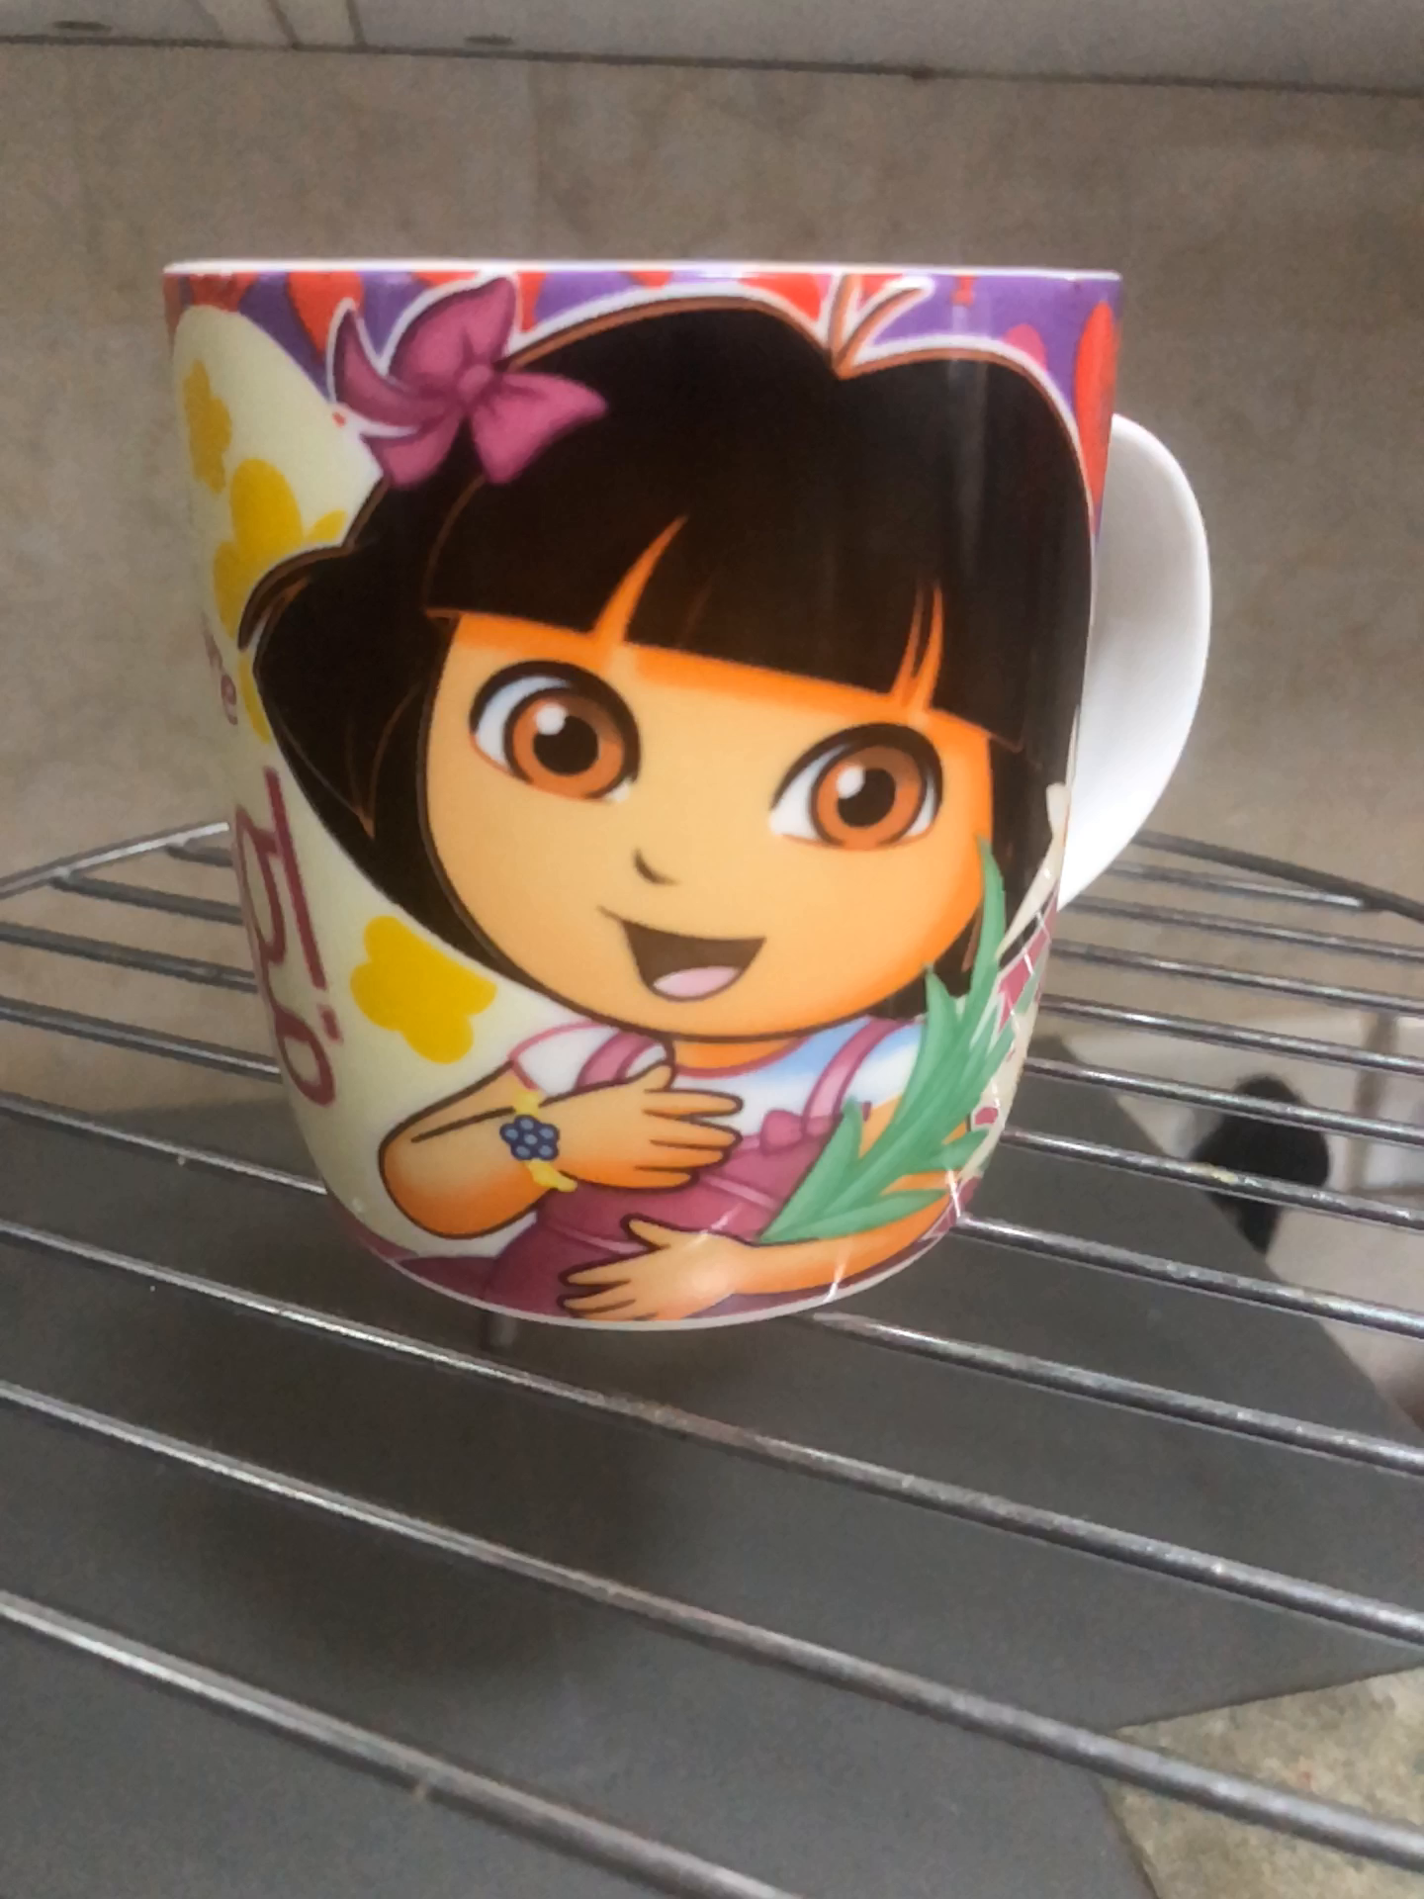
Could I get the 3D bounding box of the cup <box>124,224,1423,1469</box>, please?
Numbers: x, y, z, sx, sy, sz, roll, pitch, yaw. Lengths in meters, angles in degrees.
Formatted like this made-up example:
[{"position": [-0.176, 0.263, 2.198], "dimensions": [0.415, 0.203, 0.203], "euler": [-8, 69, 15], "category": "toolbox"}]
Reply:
[{"position": [0.014, -0.024, 0.168], "dimensions": [0.120, 0.089, 0.070], "euler": [-13, 26, -31], "category": "cup"}]
